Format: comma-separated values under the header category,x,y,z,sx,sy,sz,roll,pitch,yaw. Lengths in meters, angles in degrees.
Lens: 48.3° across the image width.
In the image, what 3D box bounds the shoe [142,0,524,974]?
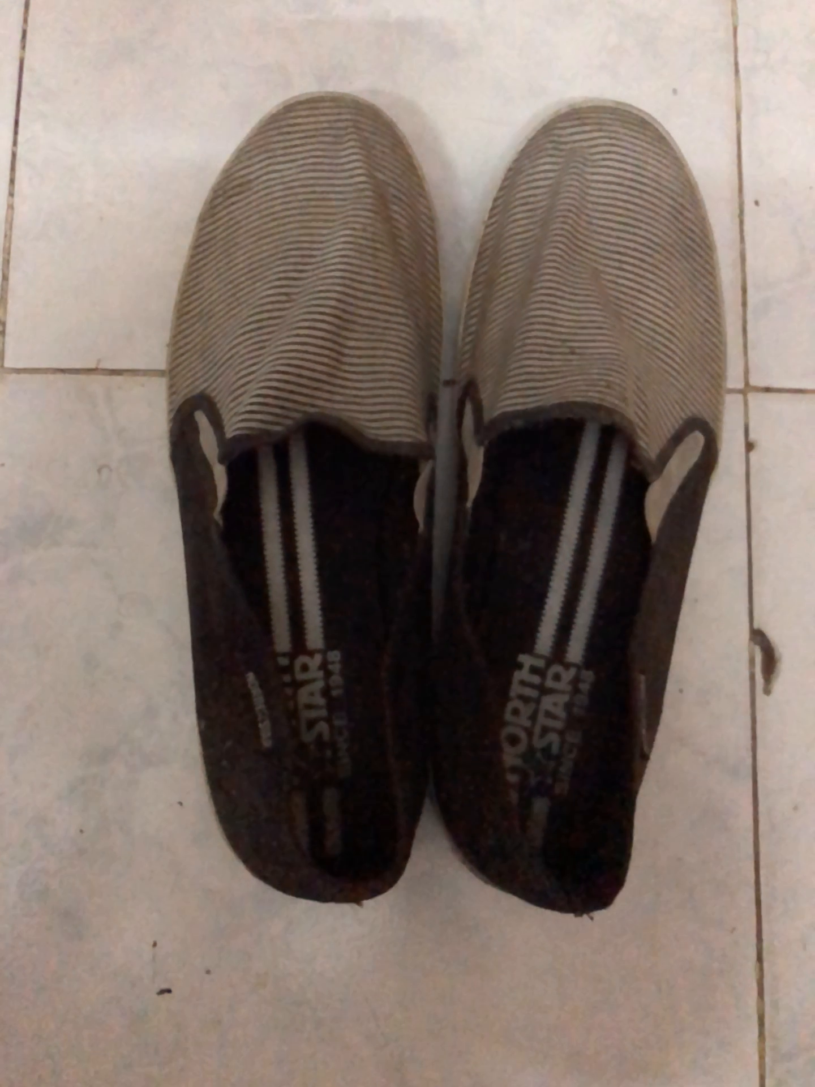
category,x,y,z,sx,sy,sz,roll,pitch,yaw
shoe,-0.027,-0.035,0.330,0.110,0.090,0.330,-1,82,-2

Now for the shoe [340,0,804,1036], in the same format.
category,x,y,z,sx,sy,sz,roll,pitch,yaw
shoe,0.055,-0.028,0.325,0.110,0.090,0.340,7,82,-1
